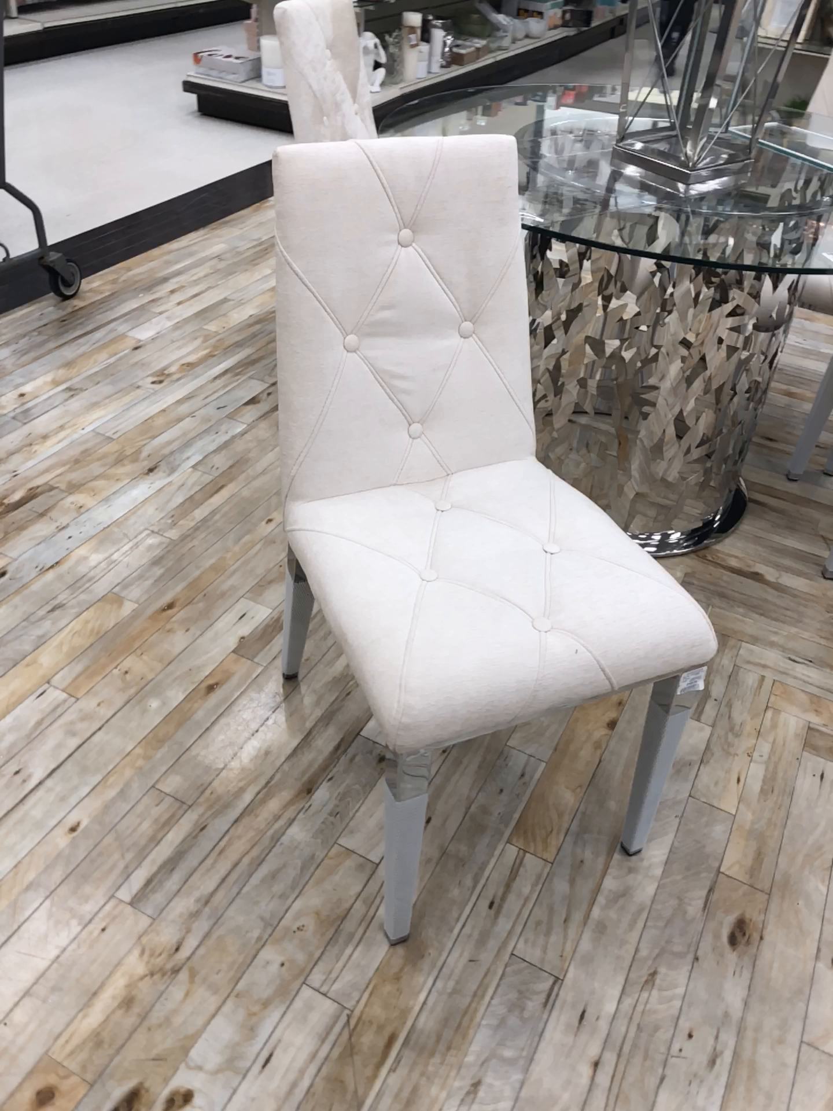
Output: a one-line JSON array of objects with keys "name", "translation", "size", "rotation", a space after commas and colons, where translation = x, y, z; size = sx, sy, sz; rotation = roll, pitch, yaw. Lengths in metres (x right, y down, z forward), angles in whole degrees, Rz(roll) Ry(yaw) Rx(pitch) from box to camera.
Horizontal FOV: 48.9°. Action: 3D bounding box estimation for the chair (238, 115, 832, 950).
[{"name": "chair", "translation": [0.084, -0.036, 1.229], "size": [0.470, 0.886, 0.572], "rotation": [-11, 41, -19]}]
